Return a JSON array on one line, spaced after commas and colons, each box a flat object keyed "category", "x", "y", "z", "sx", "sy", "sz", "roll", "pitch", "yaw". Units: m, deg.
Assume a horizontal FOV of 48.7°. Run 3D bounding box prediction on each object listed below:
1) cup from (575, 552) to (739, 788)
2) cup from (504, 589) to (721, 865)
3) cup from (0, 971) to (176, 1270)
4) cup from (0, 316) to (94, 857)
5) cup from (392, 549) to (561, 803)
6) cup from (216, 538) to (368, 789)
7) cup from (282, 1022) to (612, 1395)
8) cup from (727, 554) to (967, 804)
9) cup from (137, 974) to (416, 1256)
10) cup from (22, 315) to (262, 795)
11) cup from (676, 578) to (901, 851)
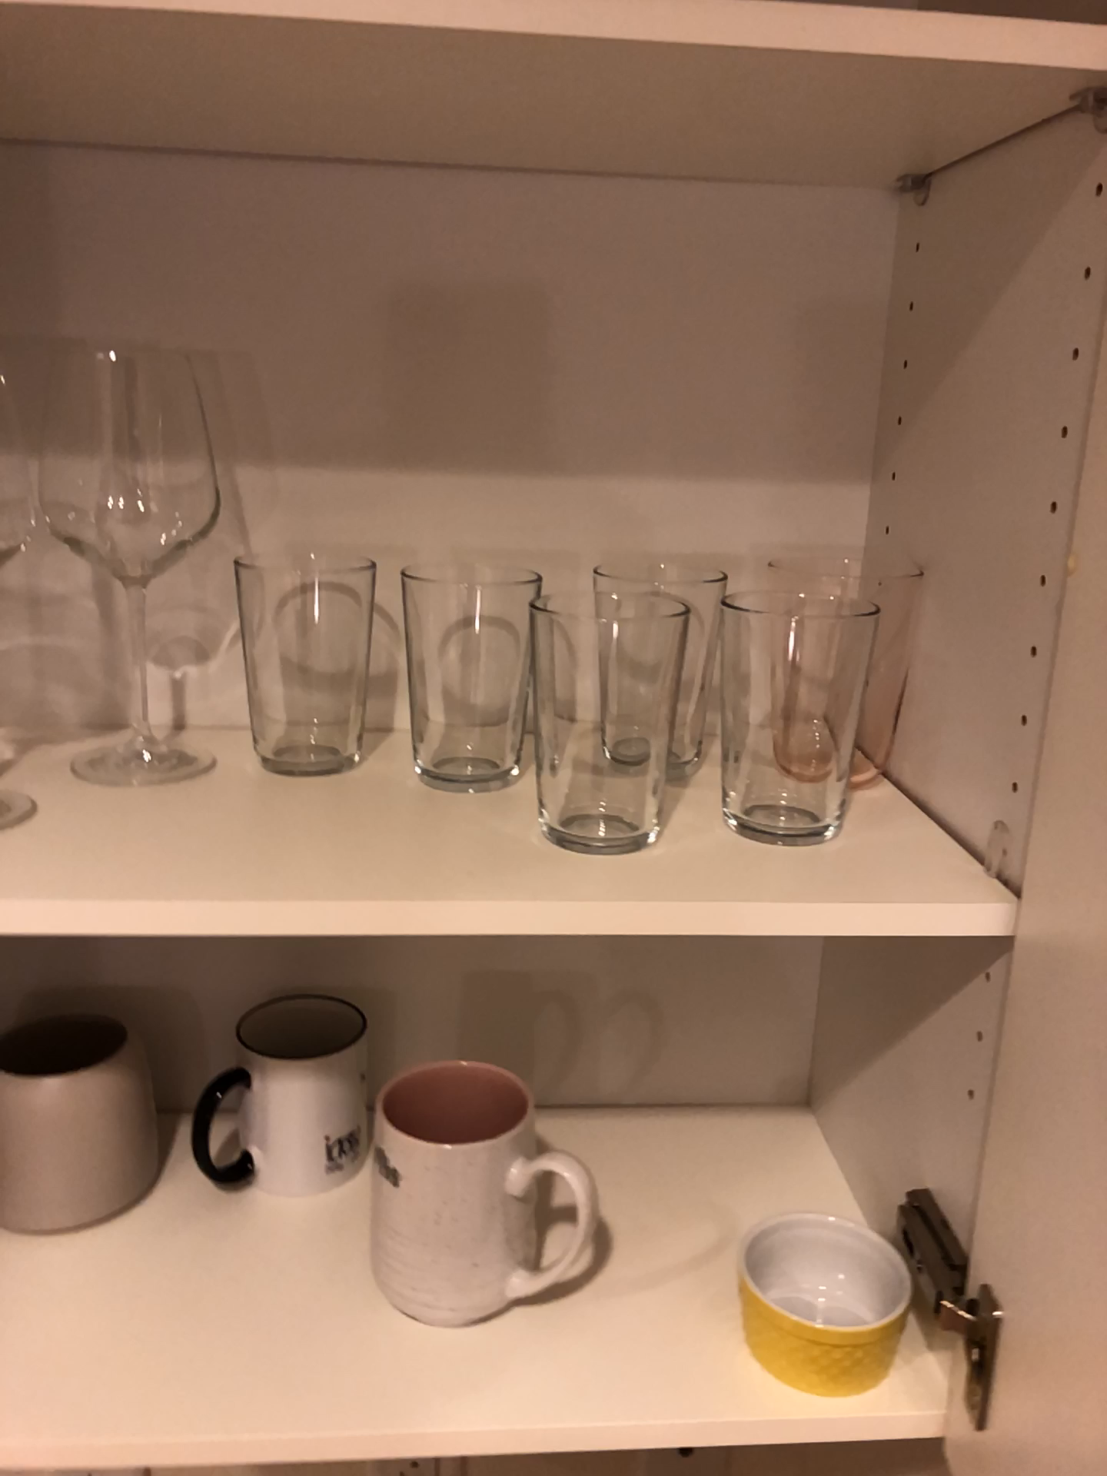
[{"category": "cup", "x": 0.056, "y": -0.042, "z": 0.704, "sx": 0.070, "sy": 0.120, "sz": 0.080, "roll": -1, "pitch": 15, "yaw": -10}, {"category": "cup", "x": 0.024, "y": -0.009, "z": 0.580, "sx": 0.080, "sy": 0.110, "sz": 0.090, "roll": -1, "pitch": 15, "yaw": -10}, {"category": "cup", "x": -0.298, "y": 0.219, "z": 0.729, "sx": 0.110, "sy": 0.090, "sz": 0.140, "roll": -6, "pitch": 17, "yaw": -28}, {"category": "cup", "x": -0.304, "y": -0.075, "z": 0.614, "sx": 0.110, "sy": 0.249, "sz": 0.090, "roll": -1, "pitch": 15, "yaw": -10}, {"category": "cup", "x": -0.046, "y": -0.037, "z": 0.666, "sx": 0.080, "sy": 0.120, "sz": 0.090, "roll": -1, "pitch": 15, "yaw": -10}, {"category": "cup", "x": -0.151, "y": -0.047, "z": 0.718, "sx": 0.080, "sy": 0.130, "sz": 0.090, "roll": -1, "pitch": 15, "yaw": -10}, {"category": "cup", "x": -0.055, "y": 0.235, "z": 0.632, "sx": 0.140, "sy": 0.110, "sz": 0.090, "roll": 11, "pitch": 17, "yaw": 29}, {"category": "cup", "x": 0.159, "y": -0.036, "z": 0.685, "sx": 0.090, "sy": 0.120, "sz": 0.100, "roll": 0, "pitch": 15, "yaw": -8}, {"category": "cup", "x": -0.166, "y": 0.223, "z": 0.749, "sx": 0.090, "sy": 0.090, "sz": 0.140, "roll": 13, "pitch": 18, "yaw": 35}, {"category": "cup", "x": -0.233, "y": -0.105, "z": 0.715, "sx": 0.110, "sy": 0.259, "sz": 0.090, "roll": -1, "pitch": 15, "yaw": -10}, {"category": "cup", "x": 0.114, "y": -0.014, "z": 0.614, "sx": 0.080, "sy": 0.120, "sz": 0.080, "roll": 2, "pitch": 15, "yaw": -1}]
